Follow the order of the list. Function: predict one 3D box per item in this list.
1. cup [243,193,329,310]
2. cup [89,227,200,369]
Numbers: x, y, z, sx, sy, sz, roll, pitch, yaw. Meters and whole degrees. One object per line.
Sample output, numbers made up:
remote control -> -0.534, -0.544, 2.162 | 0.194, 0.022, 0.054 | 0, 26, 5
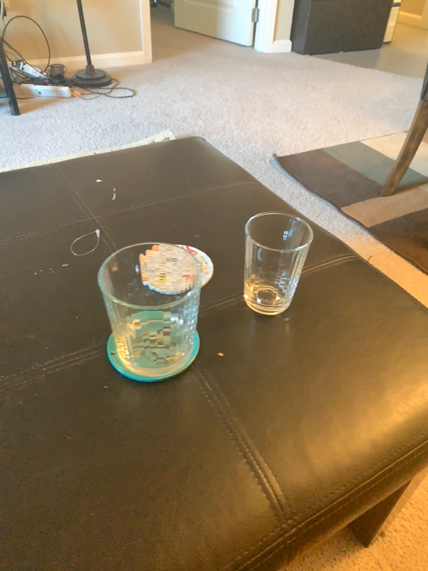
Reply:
cup -> 0.066, -0.033, 0.432 | 0.060, 0.089, 0.070 | -1, 41, -4
cup -> -0.054, 0.010, 0.378 | 0.080, 0.089, 0.080 | 1, 40, -1
